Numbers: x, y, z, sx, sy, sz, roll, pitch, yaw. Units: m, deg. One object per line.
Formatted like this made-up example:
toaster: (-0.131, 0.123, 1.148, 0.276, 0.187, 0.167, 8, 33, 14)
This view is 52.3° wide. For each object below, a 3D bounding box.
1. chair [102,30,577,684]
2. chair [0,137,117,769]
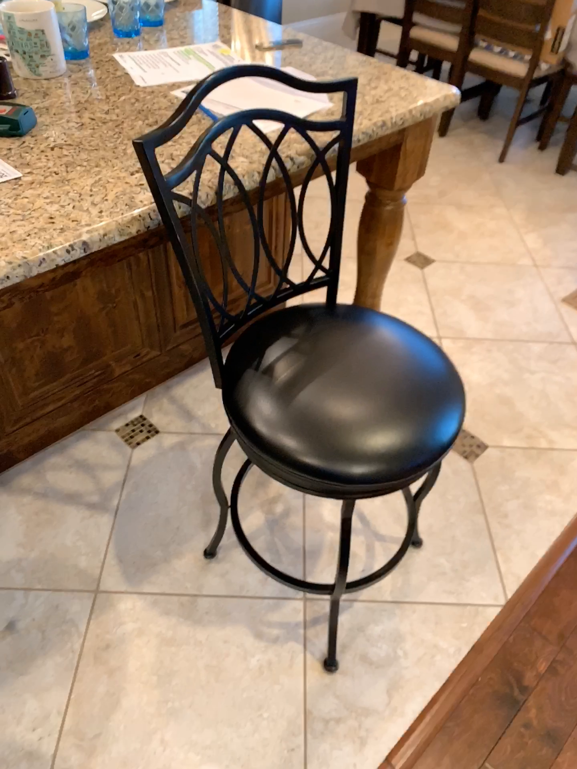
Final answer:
chair: (0.085, 0.023, 1.128, 0.506, 1.068, 0.469, 34, 52, 26)
chair: (-0.644, 0.488, 0.544, 0.556, 1.098, 0.589, -31, 55, -30)
